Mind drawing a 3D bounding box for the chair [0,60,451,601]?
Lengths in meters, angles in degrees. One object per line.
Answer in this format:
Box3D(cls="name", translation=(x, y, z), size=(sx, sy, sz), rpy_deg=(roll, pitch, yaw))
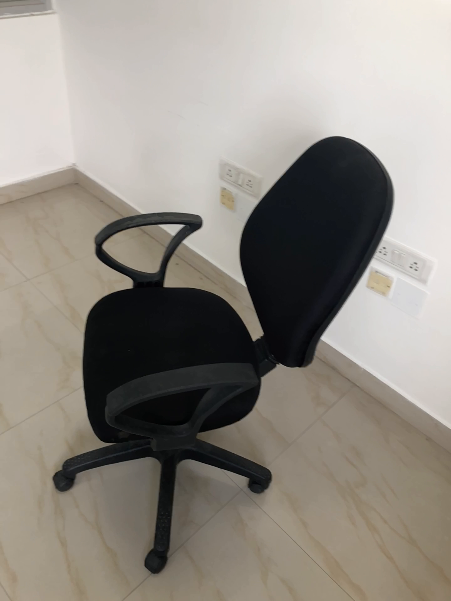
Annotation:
Box3D(cls="chair", translation=(-0.129, 0.042, 1.105), size=(0.671, 0.884, 0.684), rpy_deg=(-9, 43, -18))
